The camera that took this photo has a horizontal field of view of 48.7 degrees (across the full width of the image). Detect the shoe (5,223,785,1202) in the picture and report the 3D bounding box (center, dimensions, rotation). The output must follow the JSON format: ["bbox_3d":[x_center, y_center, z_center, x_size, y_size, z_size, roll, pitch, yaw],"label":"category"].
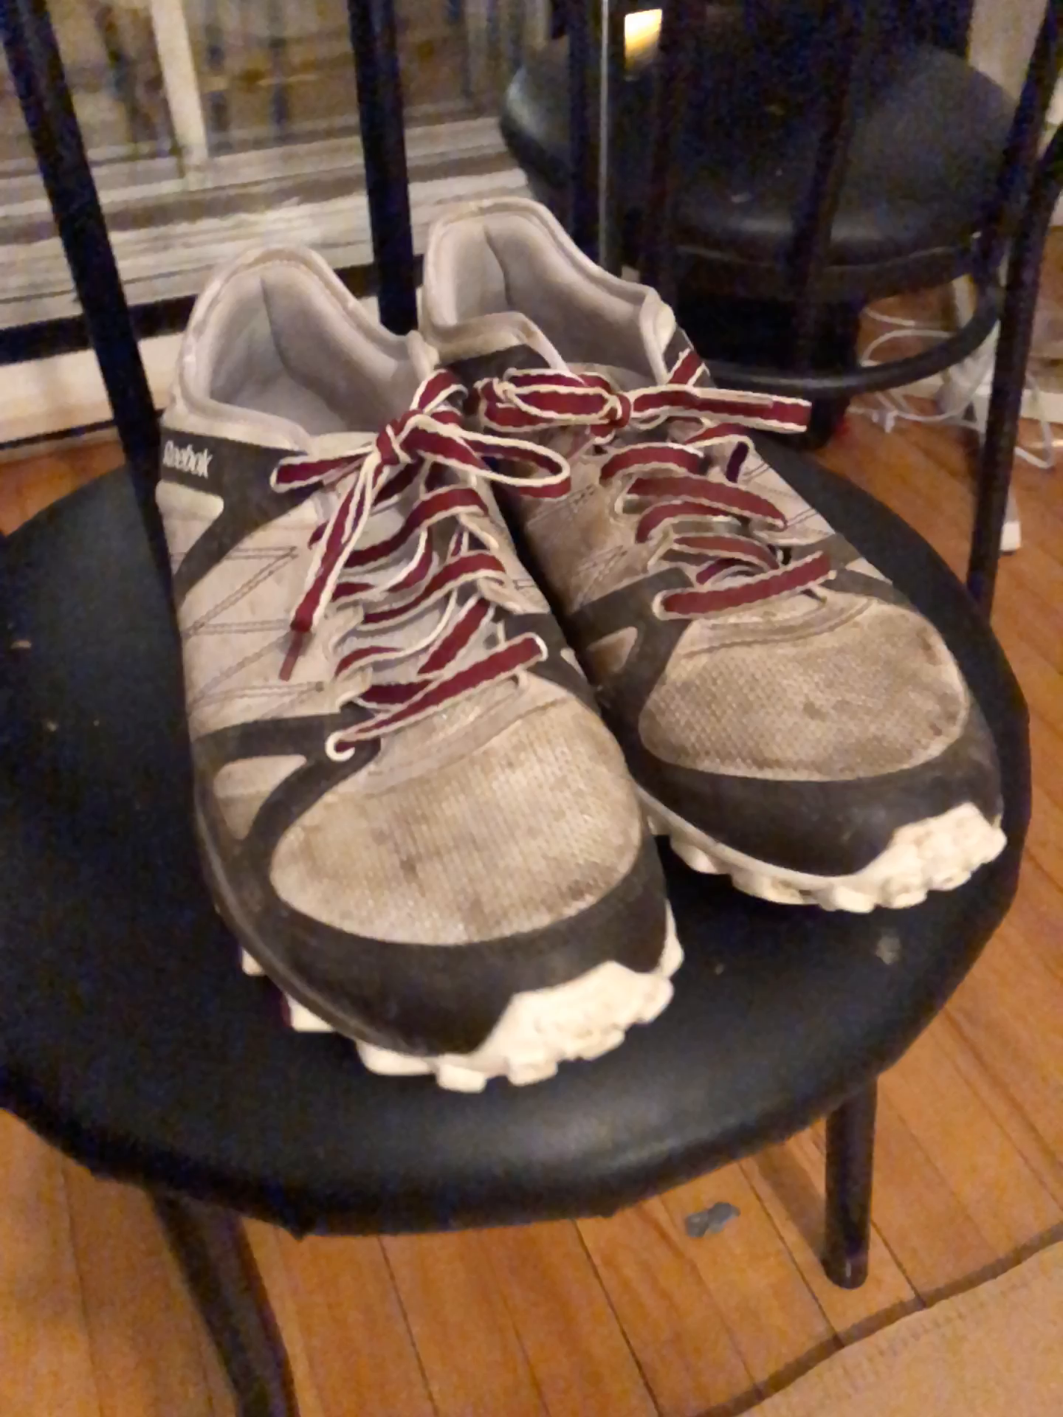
[{"bbox_3d":[-0.058,-0.030,0.322,0.110,0.089,0.272,-17,47,-17],"label":"shoe"}]

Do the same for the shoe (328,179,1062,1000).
[{"bbox_3d":[0.035,-0.065,0.370,0.110,0.089,0.282,-17,47,-17],"label":"shoe"}]
